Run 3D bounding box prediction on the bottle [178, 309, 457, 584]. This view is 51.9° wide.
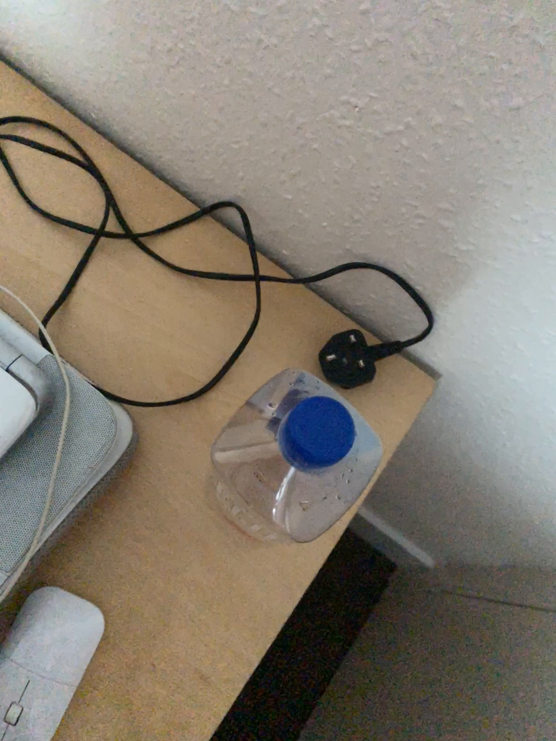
[{"bbox_3d":[0.003,0.060,0.344,0.090,0.209,0.080,38,70,3],"label":"bottle"}]
